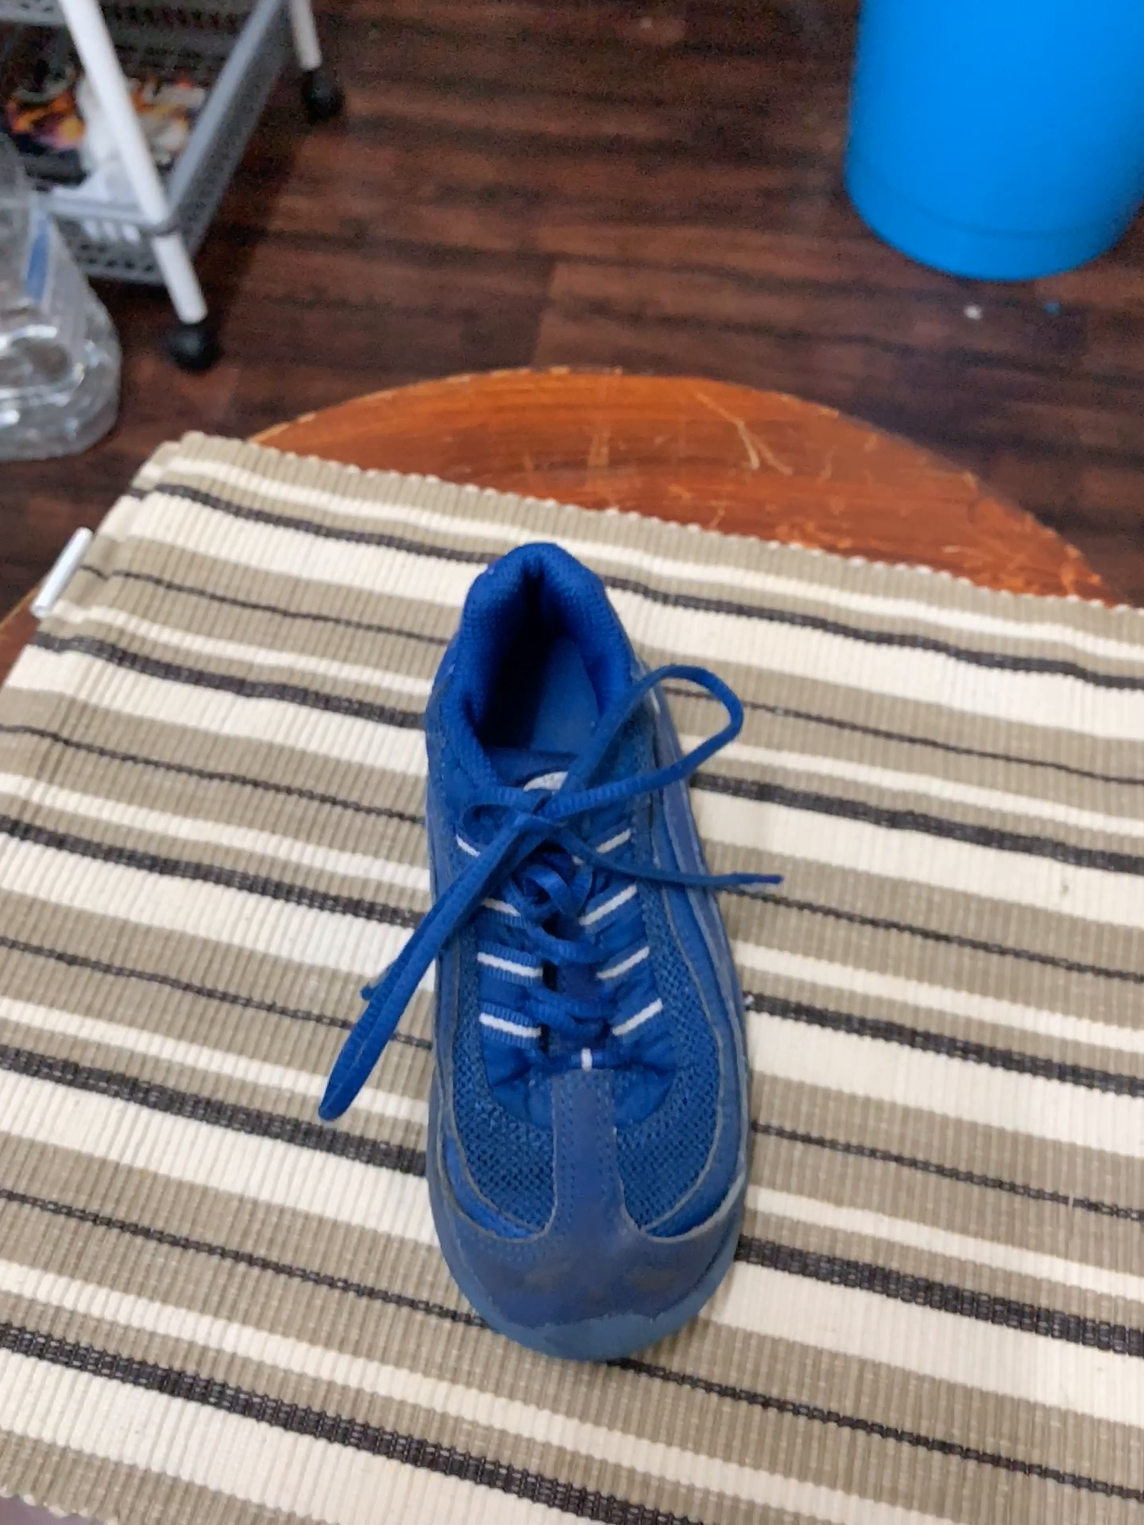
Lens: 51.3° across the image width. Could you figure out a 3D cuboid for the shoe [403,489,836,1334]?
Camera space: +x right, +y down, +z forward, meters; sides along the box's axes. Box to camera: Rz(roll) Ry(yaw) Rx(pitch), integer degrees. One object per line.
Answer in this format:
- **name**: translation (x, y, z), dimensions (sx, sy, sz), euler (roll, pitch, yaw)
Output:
- **shoe**: translation (0.005, 0.033, 0.277), dimensions (0.073, 0.079, 0.176), euler (-3, 63, 0)
